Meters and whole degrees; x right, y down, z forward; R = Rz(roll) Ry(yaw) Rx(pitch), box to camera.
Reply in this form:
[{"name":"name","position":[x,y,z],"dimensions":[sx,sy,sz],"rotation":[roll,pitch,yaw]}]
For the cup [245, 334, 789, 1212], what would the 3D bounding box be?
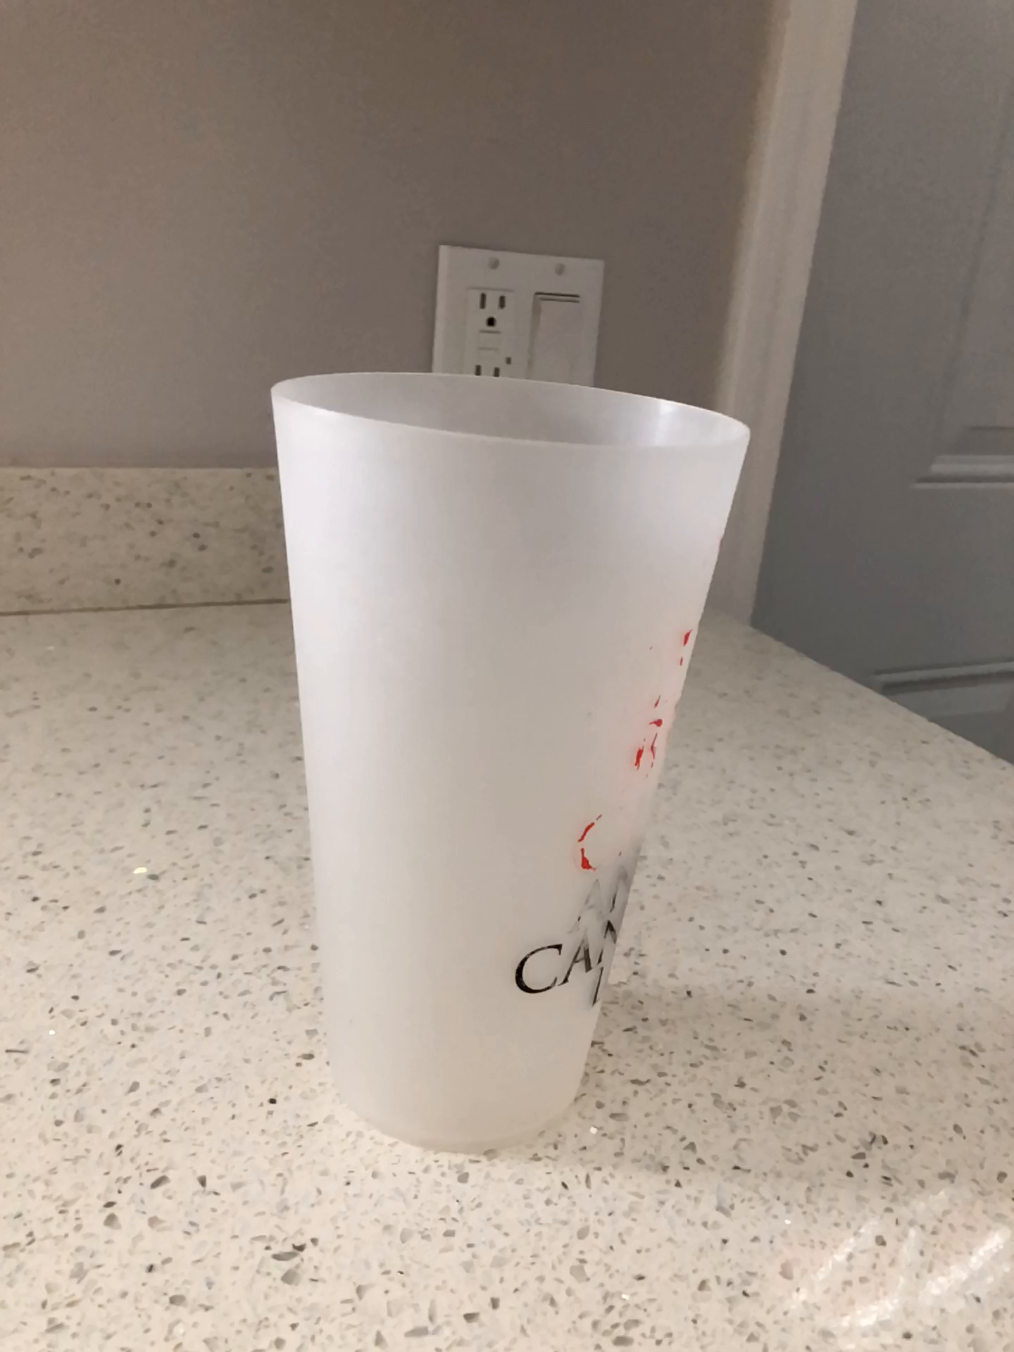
[{"name":"cup","position":[0.004,0.013,0.263],"dimensions":[0.093,0.166,0.096],"rotation":[4,21,-2]}]
